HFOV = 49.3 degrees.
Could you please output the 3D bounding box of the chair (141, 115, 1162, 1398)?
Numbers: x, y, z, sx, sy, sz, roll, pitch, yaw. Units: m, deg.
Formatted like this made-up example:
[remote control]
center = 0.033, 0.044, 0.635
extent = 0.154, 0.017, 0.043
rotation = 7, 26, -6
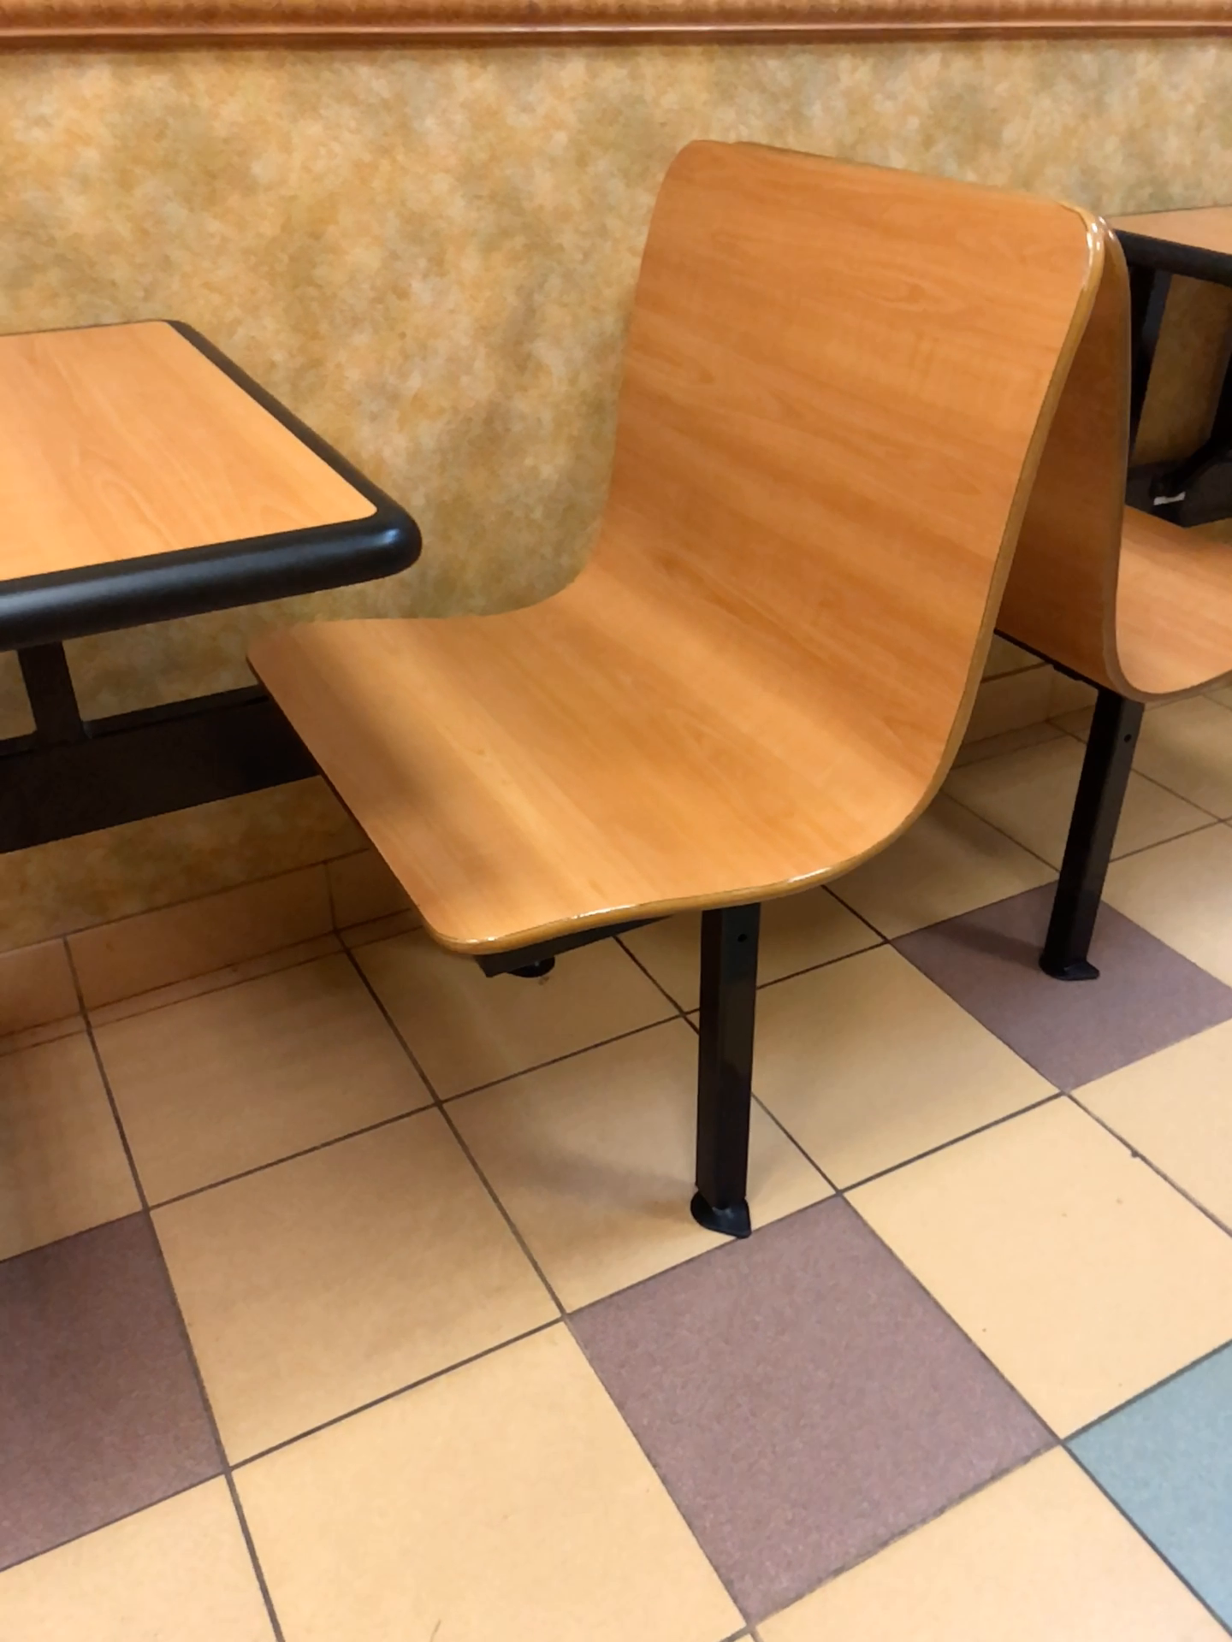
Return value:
[chair]
center = -0.031, -0.112, 1.216
extent = 0.511, 0.885, 0.633
rotation = -15, 35, -24
